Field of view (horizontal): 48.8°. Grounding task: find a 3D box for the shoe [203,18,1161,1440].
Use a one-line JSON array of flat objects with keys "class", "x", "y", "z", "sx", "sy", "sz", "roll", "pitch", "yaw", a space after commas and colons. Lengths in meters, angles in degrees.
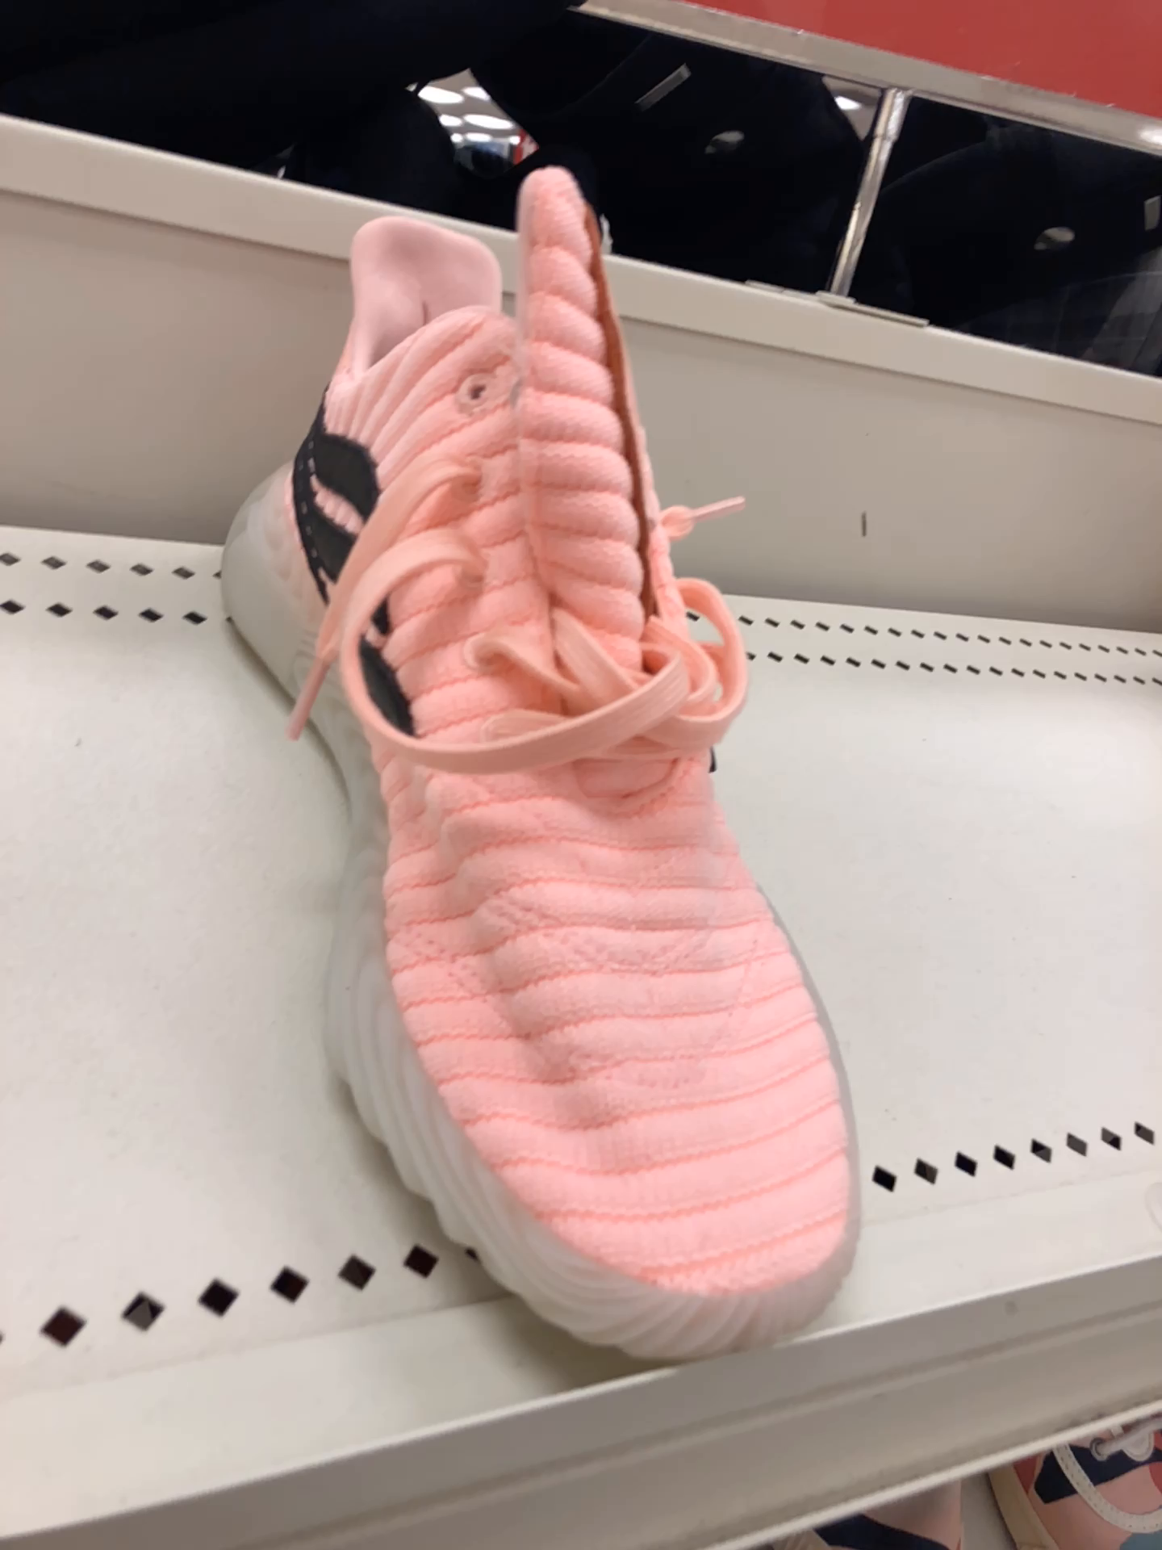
[{"class": "shoe", "x": -0.004, "y": -0.051, "z": 0.314, "sx": 0.120, "sy": 0.169, "sz": 0.322, "roll": 2, "pitch": 35, "yaw": -25}]
